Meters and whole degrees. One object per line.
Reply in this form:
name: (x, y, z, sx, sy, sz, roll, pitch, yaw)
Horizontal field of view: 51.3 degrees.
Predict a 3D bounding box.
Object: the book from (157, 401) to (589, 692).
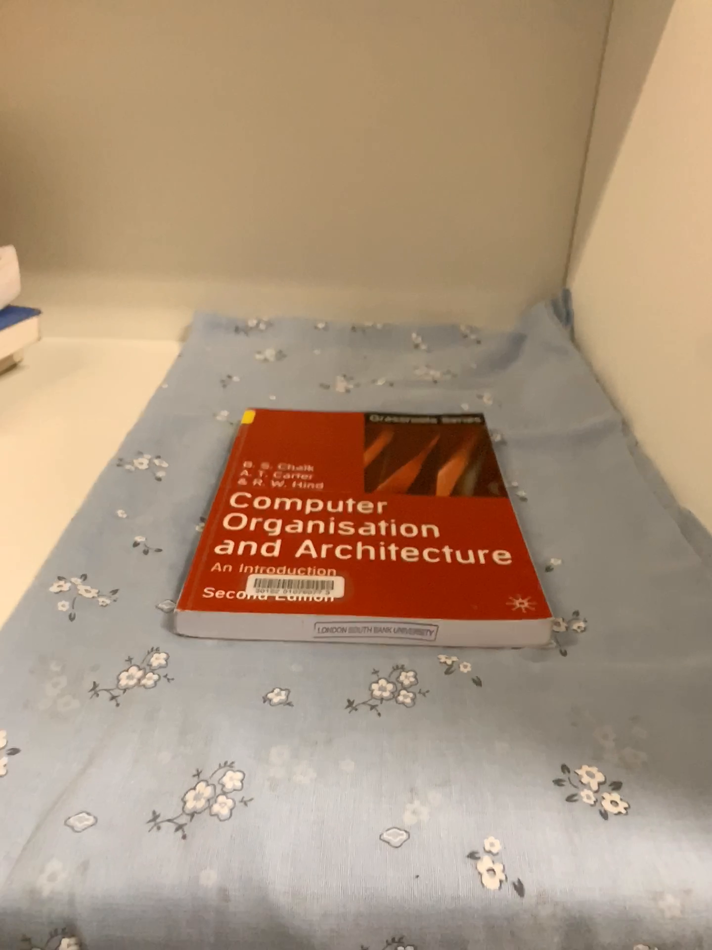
book: (0.015, 0.024, 0.486, 0.210, 0.030, 0.272, 4, 28, 2)
